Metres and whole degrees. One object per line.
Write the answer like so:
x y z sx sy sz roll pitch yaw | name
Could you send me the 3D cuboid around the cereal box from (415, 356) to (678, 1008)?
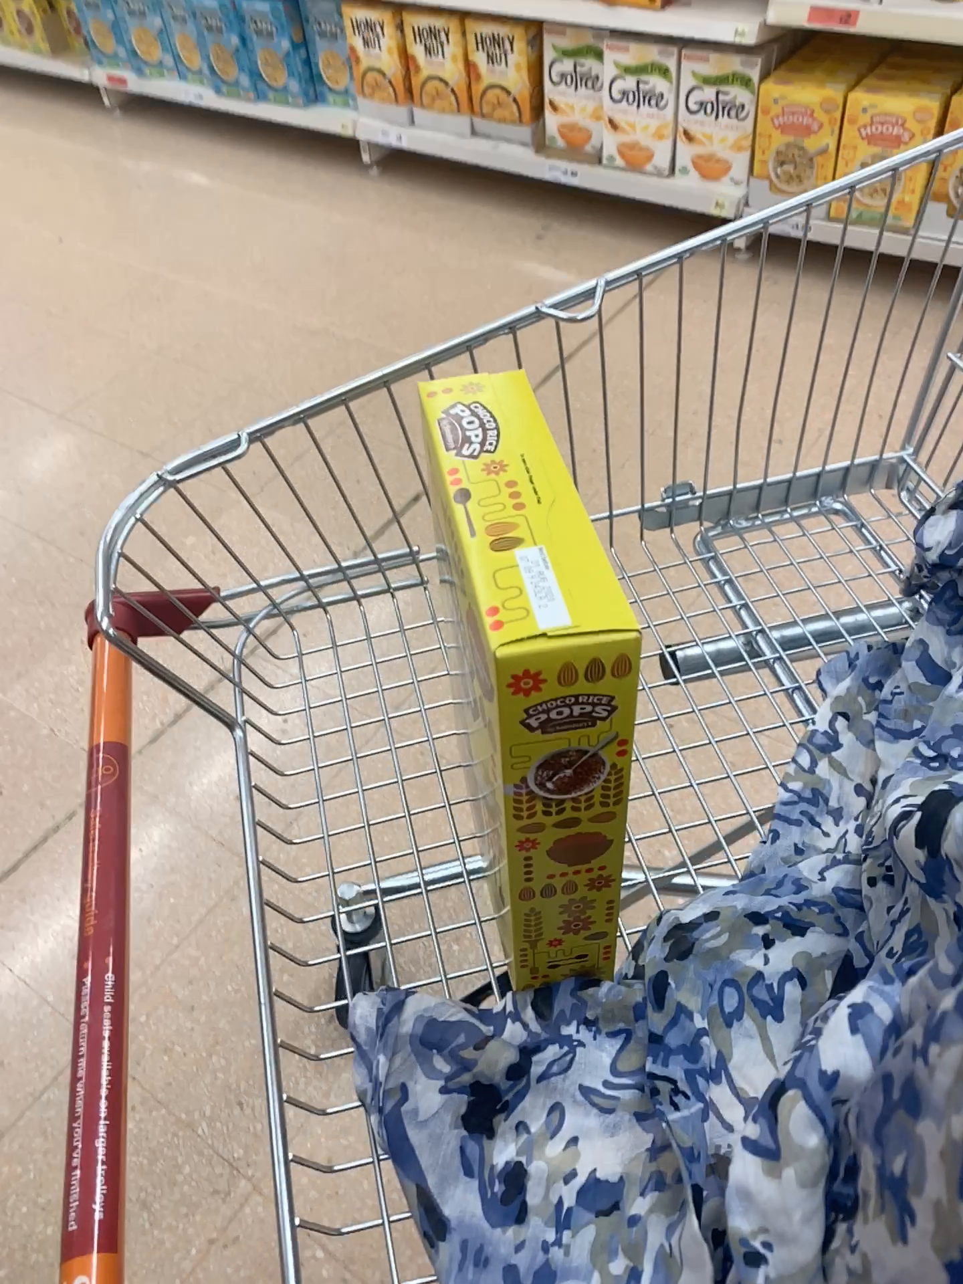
0.022 0.028 0.506 0.060 0.267 0.202 -10 47 -7 | cereal box
